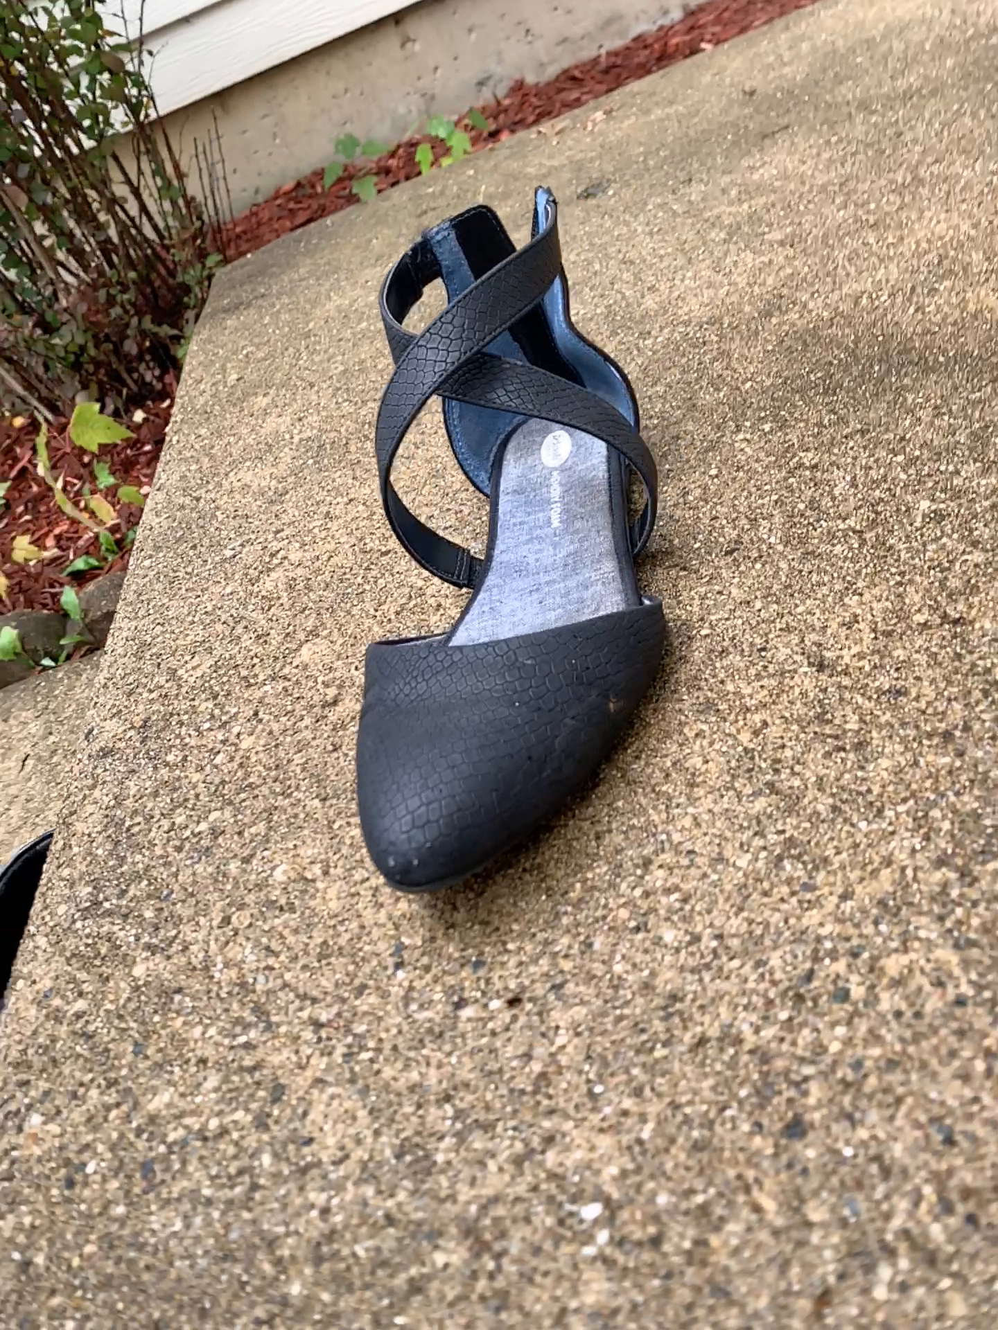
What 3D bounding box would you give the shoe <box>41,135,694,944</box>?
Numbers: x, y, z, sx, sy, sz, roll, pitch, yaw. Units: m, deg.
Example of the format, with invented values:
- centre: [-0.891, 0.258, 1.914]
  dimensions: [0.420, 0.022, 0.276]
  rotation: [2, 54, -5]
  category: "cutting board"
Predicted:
- centre: [-0.006, -0.059, 0.326]
  dimensions: [0.097, 0.112, 0.264]
  rotation: [-9, 38, 22]
  category: "shoe"
